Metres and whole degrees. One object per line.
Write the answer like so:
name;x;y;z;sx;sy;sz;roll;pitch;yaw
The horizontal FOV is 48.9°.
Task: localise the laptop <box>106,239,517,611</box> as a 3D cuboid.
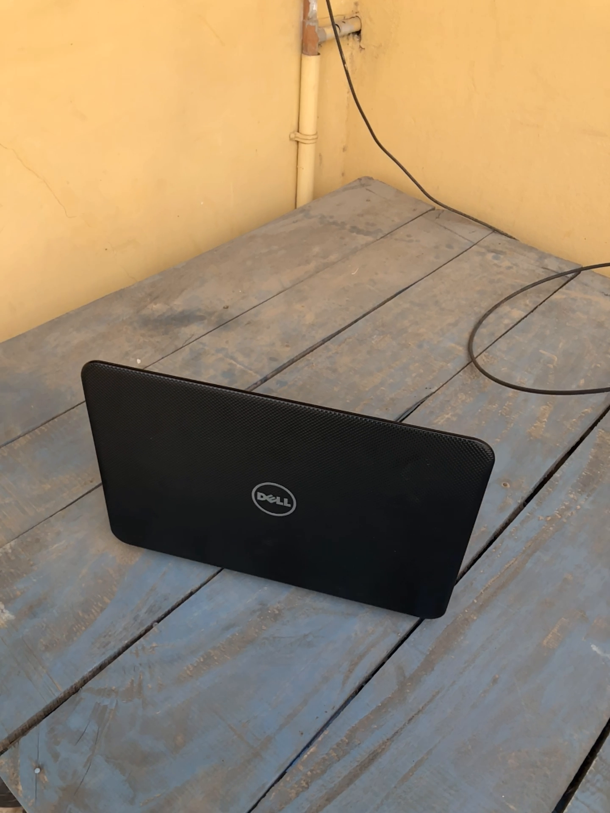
laptop;0.019;0.011;0.719;0.340;0.234;0.226;12;43;11
